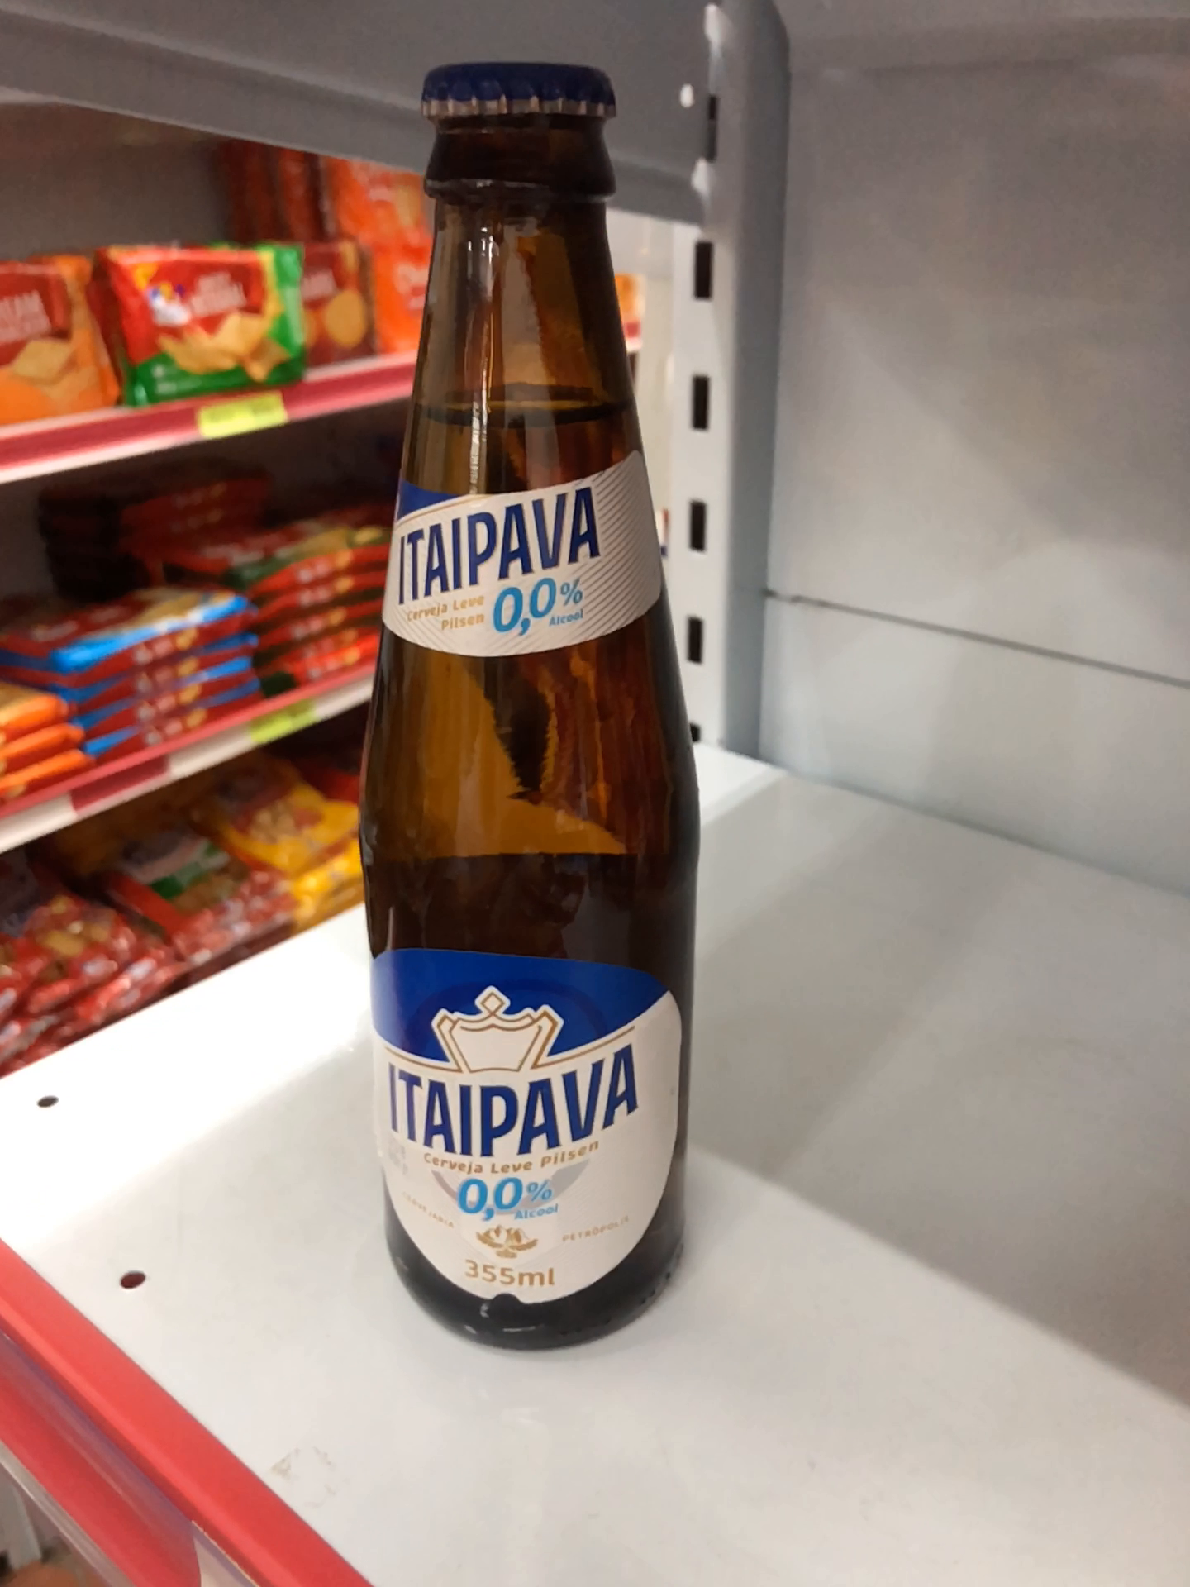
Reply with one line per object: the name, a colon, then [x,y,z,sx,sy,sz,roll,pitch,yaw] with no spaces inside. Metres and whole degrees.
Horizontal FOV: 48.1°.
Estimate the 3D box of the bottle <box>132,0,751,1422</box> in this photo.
bottle: [-0.012,-0.005,0.209,0.060,0.208,0.060,-1,25,0]
